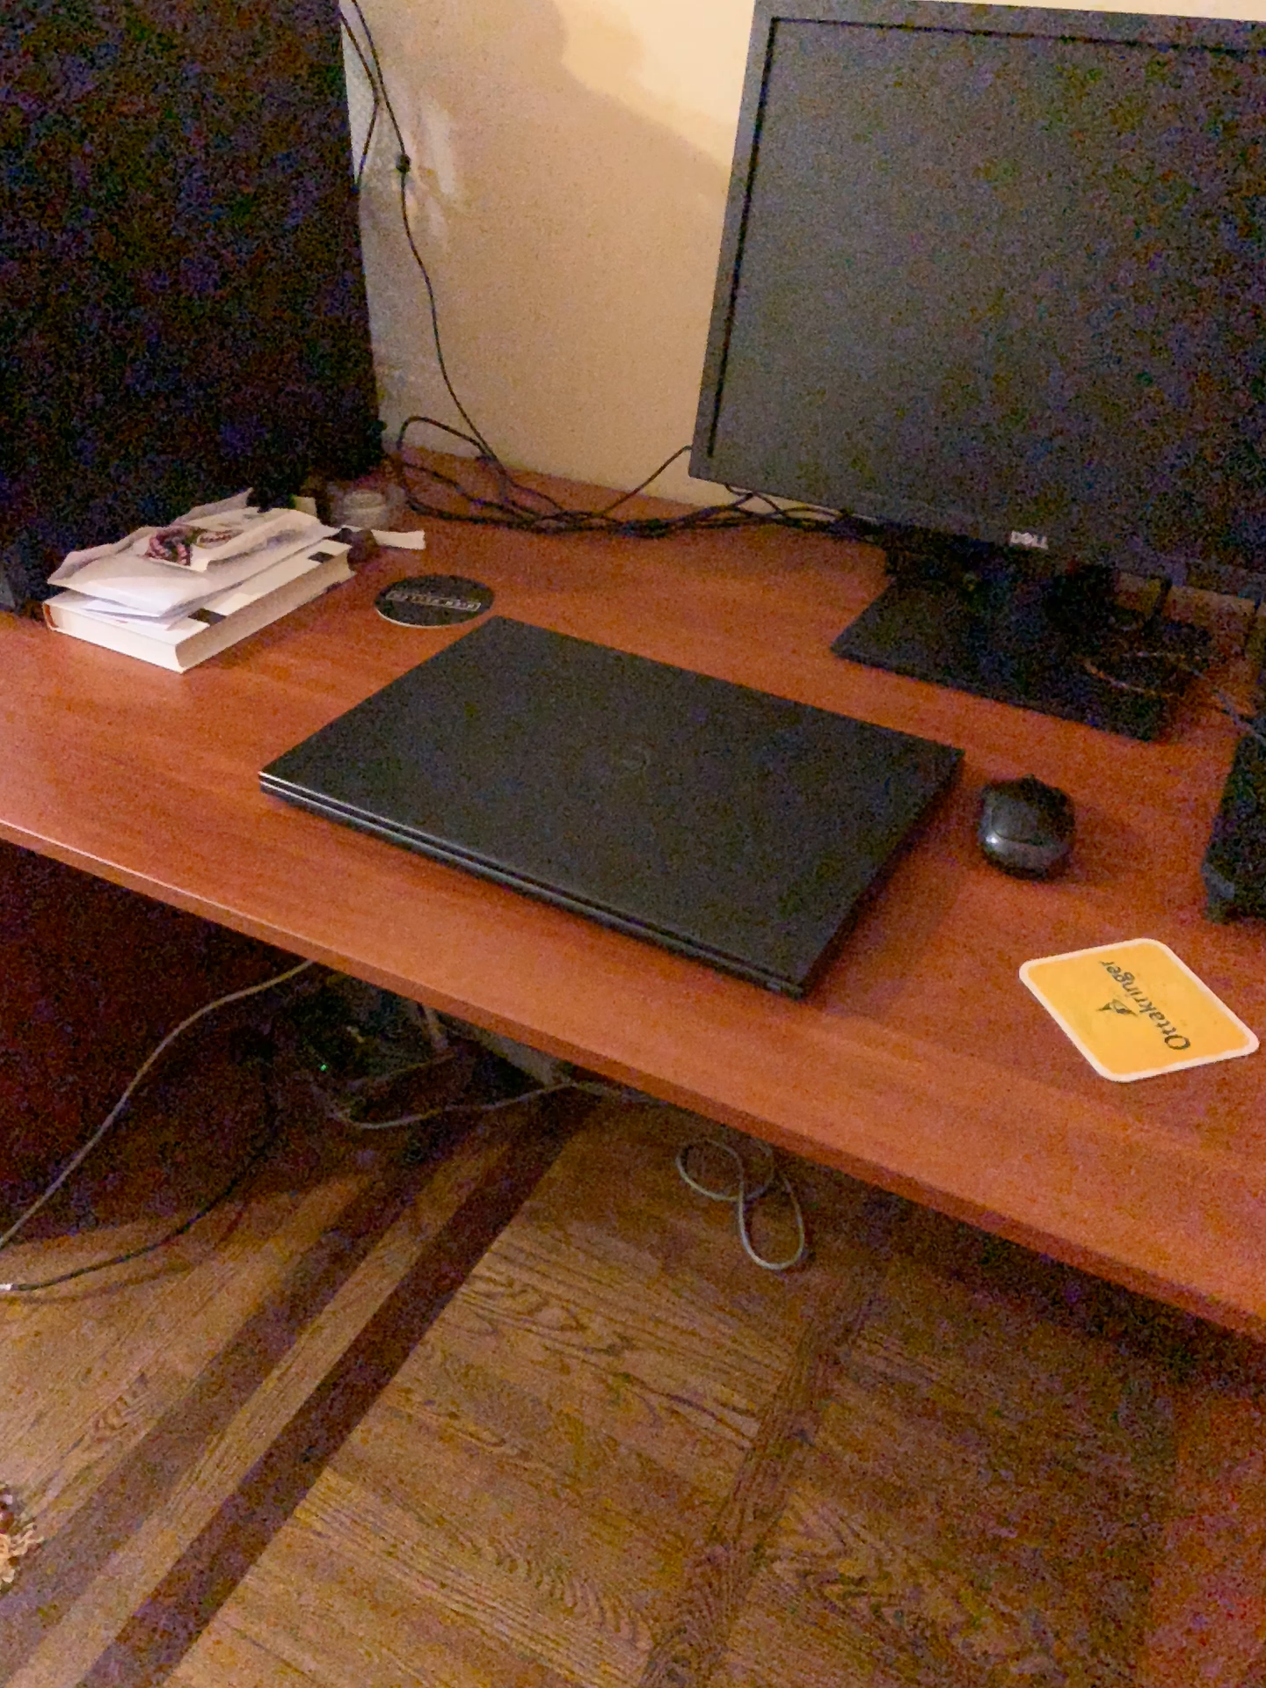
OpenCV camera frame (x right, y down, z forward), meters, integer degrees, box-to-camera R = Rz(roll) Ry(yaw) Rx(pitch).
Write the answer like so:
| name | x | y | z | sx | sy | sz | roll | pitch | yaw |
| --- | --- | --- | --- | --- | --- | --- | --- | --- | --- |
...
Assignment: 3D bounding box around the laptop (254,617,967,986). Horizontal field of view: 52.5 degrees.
| name | x | y | z | sx | sy | sz | roll | pitch | yaw |
| --- | --- | --- | --- | --- | --- | --- | --- | --- | --- |
| laptop | -0.009 | -0.049 | 0.794 | 0.360 | 0.002 | 0.249 | 20 | 40 | 23 |
